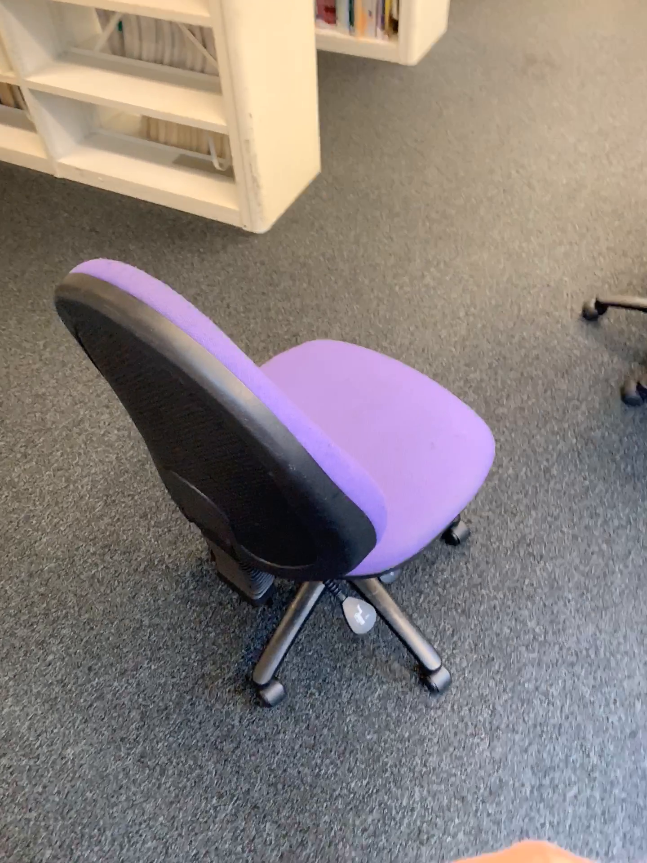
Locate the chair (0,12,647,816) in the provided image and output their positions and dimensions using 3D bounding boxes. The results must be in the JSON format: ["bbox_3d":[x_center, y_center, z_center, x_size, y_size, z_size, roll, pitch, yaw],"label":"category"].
[{"bbox_3d":[0.023,0.029,1.093,0.671,0.984,0.637,31,59,25],"label":"chair"}]
